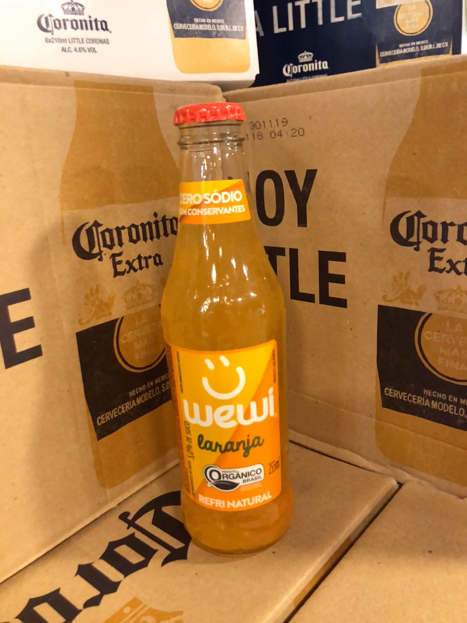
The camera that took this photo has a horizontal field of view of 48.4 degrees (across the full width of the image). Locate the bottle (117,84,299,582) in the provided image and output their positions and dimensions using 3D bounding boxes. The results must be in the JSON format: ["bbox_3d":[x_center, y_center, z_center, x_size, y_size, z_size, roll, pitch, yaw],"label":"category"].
[{"bbox_3d":[-0.005,0.014,0.239,0.060,0.209,0.060,-3,15,1],"label":"bottle"}]
